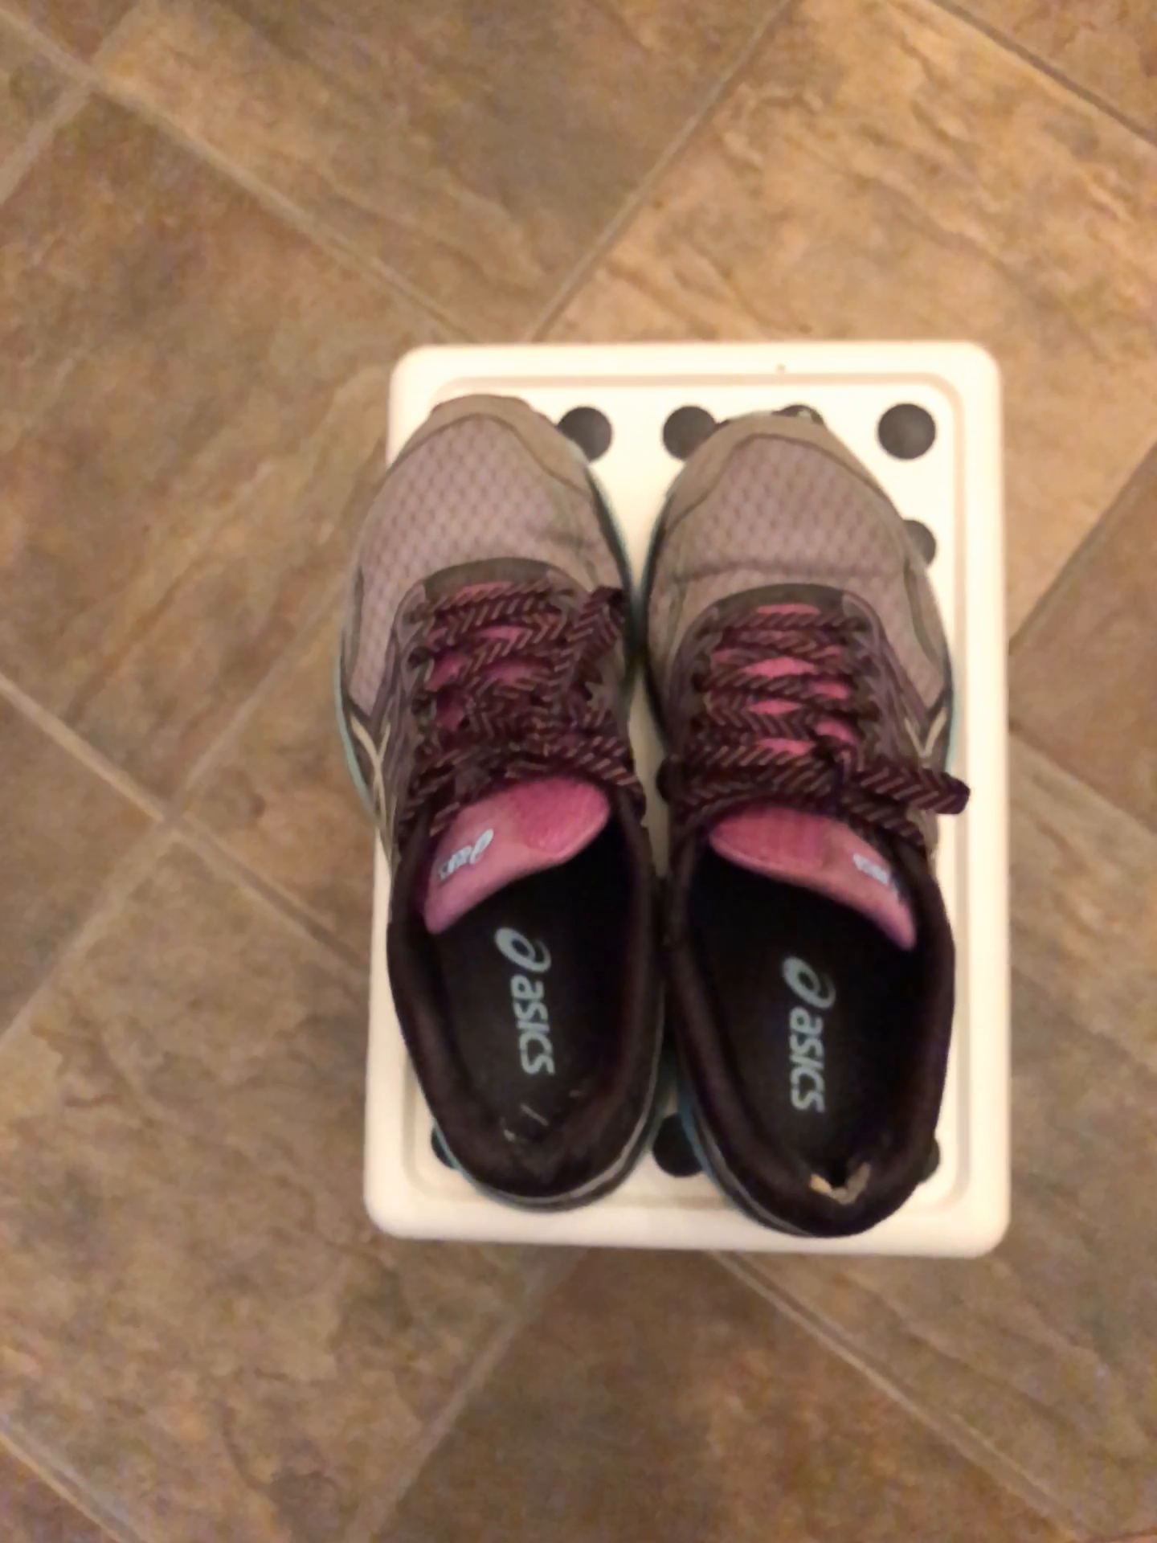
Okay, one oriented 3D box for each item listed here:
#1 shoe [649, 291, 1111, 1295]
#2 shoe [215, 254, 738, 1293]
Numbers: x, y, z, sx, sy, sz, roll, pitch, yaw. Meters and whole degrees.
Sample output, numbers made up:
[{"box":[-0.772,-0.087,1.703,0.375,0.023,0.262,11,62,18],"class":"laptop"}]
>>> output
[{"box":[0.081,0.007,0.396,0.110,0.120,0.260,-1,85,5],"class":"shoe"},{"box":[-0.025,0.002,0.394,0.110,0.120,0.260,-7,84,4],"class":"shoe"}]
